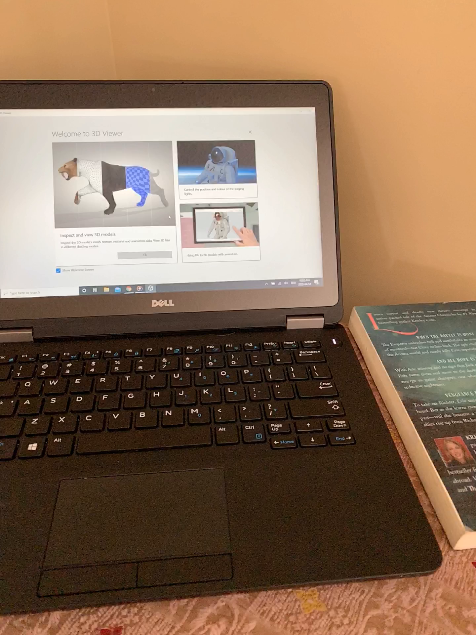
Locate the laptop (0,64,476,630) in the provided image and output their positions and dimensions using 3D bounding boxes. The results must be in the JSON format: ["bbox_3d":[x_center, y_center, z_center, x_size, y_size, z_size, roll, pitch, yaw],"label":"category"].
[{"bbox_3d":[-0.069,-0.046,0.403,0.365,0.186,0.424,-3,41,-5],"label":"laptop"}]
